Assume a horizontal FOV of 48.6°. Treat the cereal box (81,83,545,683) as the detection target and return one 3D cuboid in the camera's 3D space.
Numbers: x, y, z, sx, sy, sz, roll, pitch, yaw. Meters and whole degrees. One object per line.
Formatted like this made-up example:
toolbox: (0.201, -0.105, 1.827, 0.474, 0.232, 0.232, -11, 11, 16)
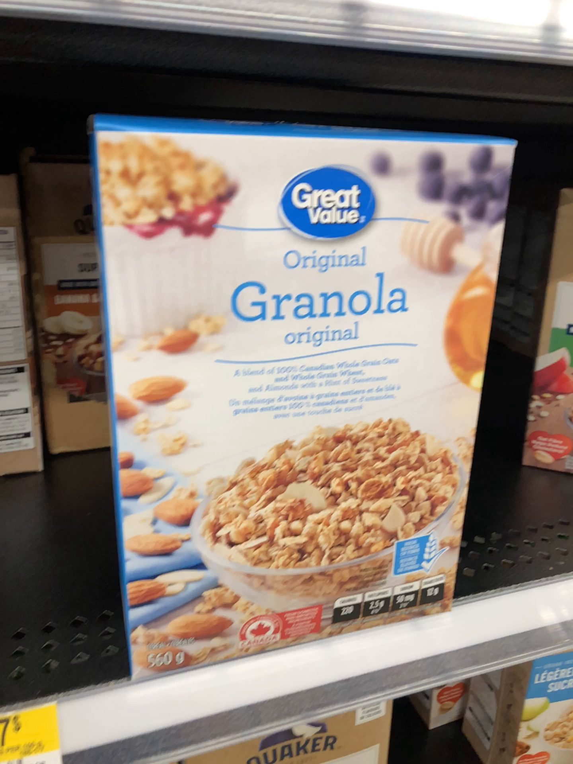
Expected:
cereal box: (0.005, -0.001, 0.275, 0.160, 0.219, 0.070, -5, 20, -18)
